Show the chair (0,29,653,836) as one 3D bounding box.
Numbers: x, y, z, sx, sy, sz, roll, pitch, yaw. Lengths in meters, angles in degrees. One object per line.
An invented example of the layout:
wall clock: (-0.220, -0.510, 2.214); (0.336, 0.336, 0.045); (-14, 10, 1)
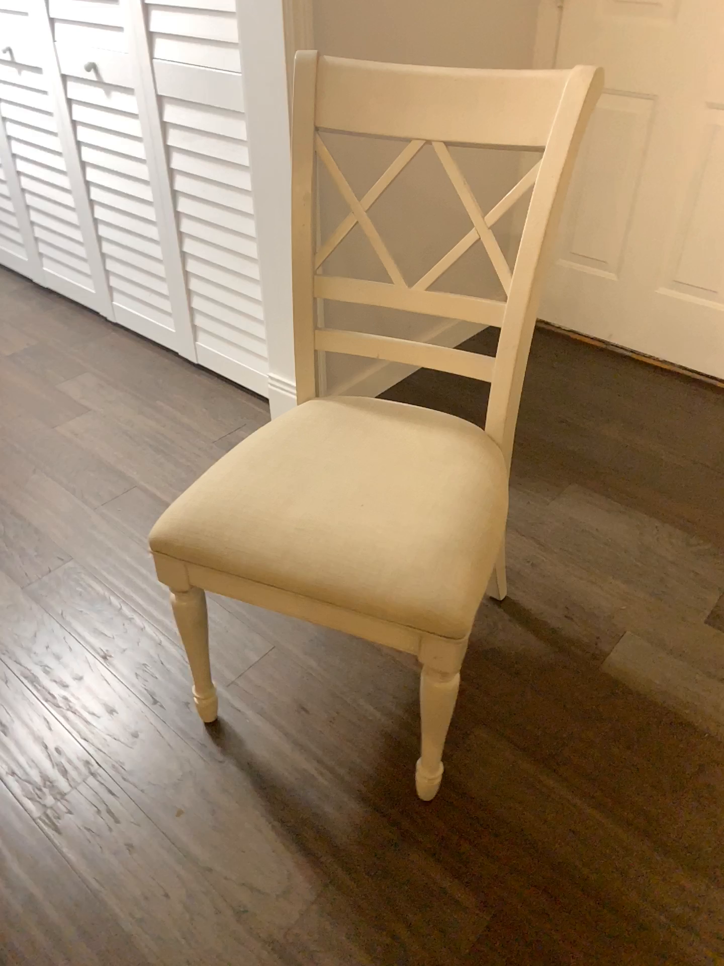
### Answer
chair: (0.014, -0.084, 1.154); (0.581, 0.994, 0.613); (13, 39, 17)
